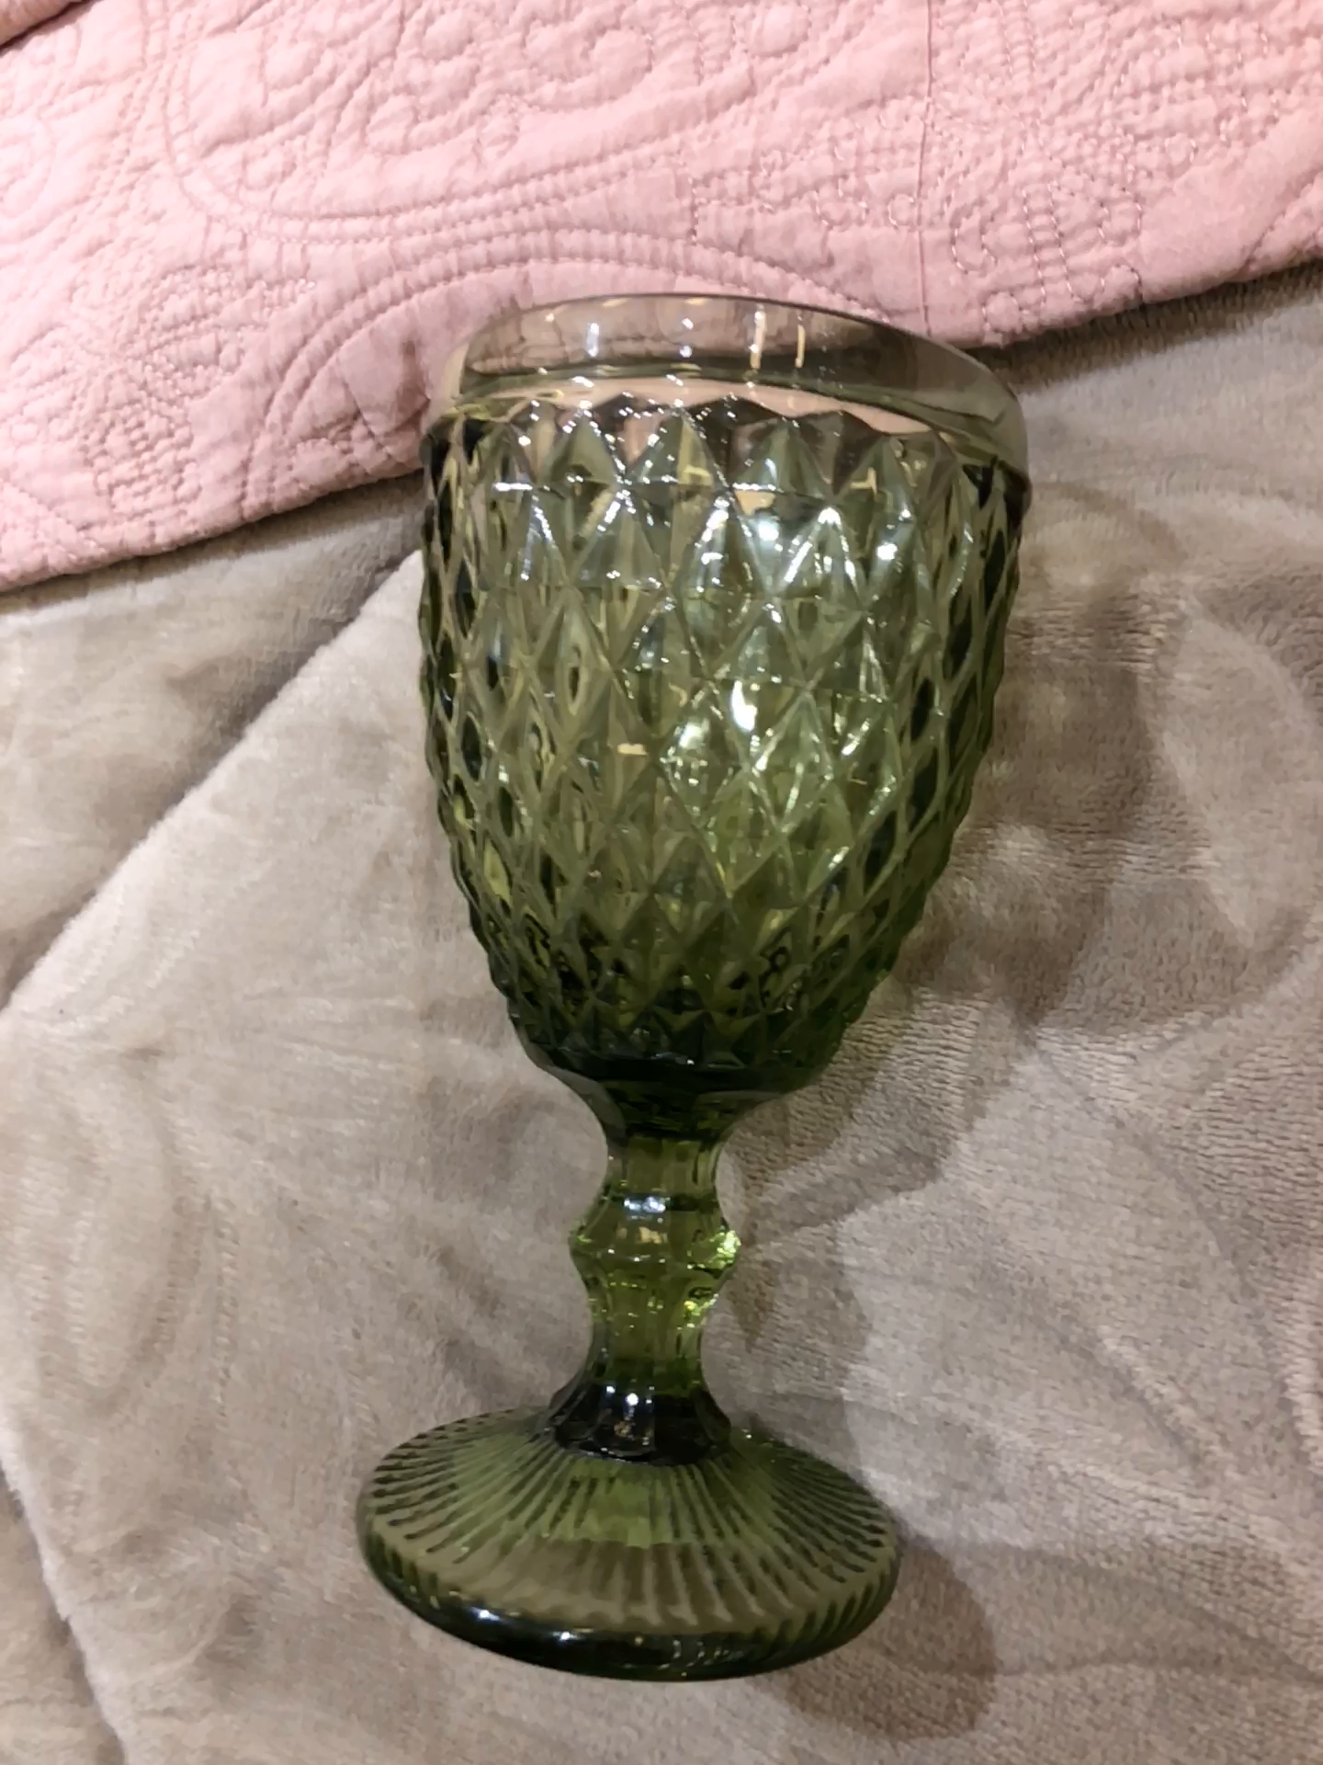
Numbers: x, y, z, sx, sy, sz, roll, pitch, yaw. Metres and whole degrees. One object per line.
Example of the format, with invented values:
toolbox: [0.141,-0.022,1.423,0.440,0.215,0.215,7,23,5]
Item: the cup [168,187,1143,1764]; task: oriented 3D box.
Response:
cup: [0.006,0.018,0.213,0.090,0.080,0.190,5,85,29]
